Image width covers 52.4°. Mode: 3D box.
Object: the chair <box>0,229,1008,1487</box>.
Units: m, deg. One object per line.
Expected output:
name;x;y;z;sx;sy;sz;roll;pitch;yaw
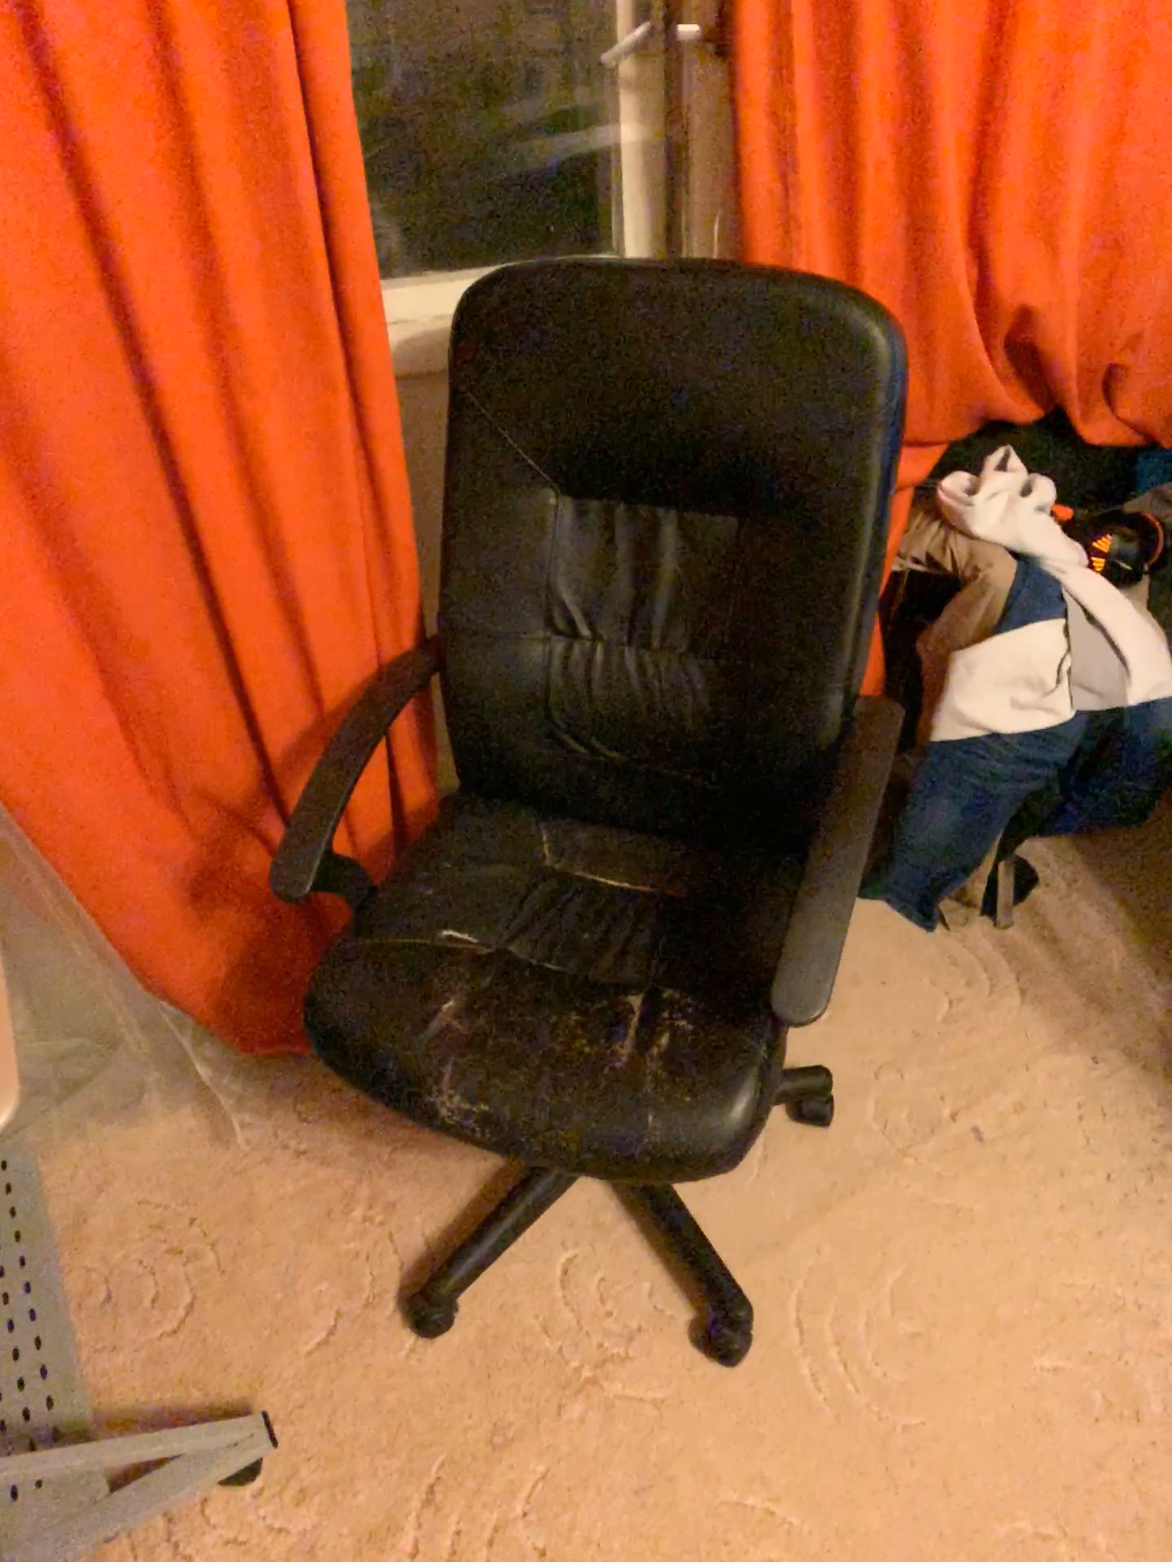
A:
chair;-0.011;0.077;1.379;0.710;1.124;0.744;11;41;18
